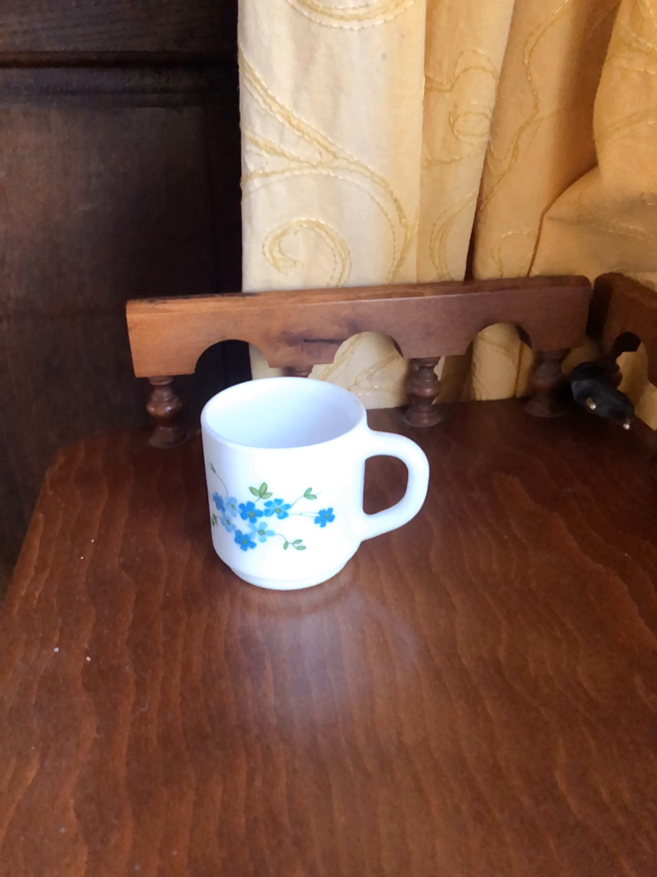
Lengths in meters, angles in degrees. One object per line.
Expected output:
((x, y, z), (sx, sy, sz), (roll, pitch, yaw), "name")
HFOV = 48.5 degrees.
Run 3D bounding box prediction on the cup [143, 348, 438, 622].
((-0.010, 0.012, 0.256), (0.080, 0.060, 0.060), (10, 29, 19), "cup")
